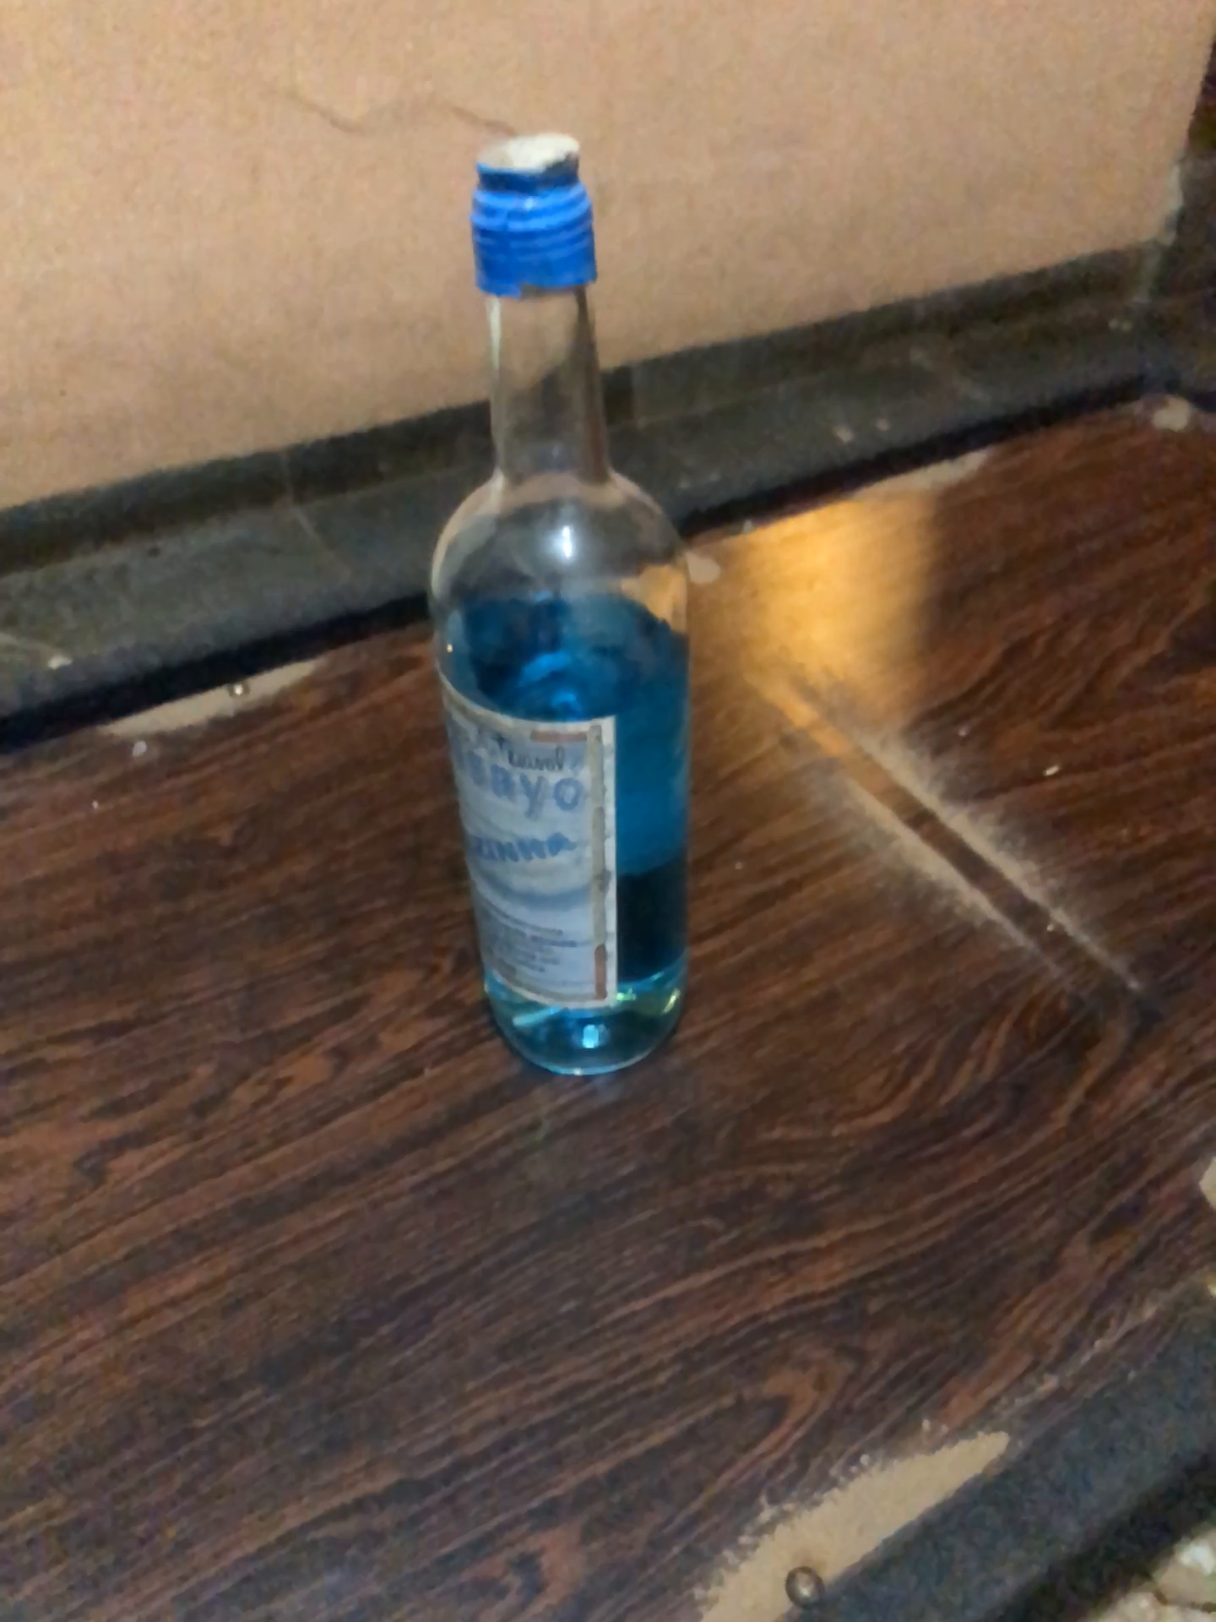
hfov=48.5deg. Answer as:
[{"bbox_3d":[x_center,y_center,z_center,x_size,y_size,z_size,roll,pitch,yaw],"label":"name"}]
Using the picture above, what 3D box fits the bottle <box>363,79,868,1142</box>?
[{"bbox_3d":[-0.002,-0.037,0.400,0.080,0.298,0.080,1,41,-1],"label":"bottle"}]
